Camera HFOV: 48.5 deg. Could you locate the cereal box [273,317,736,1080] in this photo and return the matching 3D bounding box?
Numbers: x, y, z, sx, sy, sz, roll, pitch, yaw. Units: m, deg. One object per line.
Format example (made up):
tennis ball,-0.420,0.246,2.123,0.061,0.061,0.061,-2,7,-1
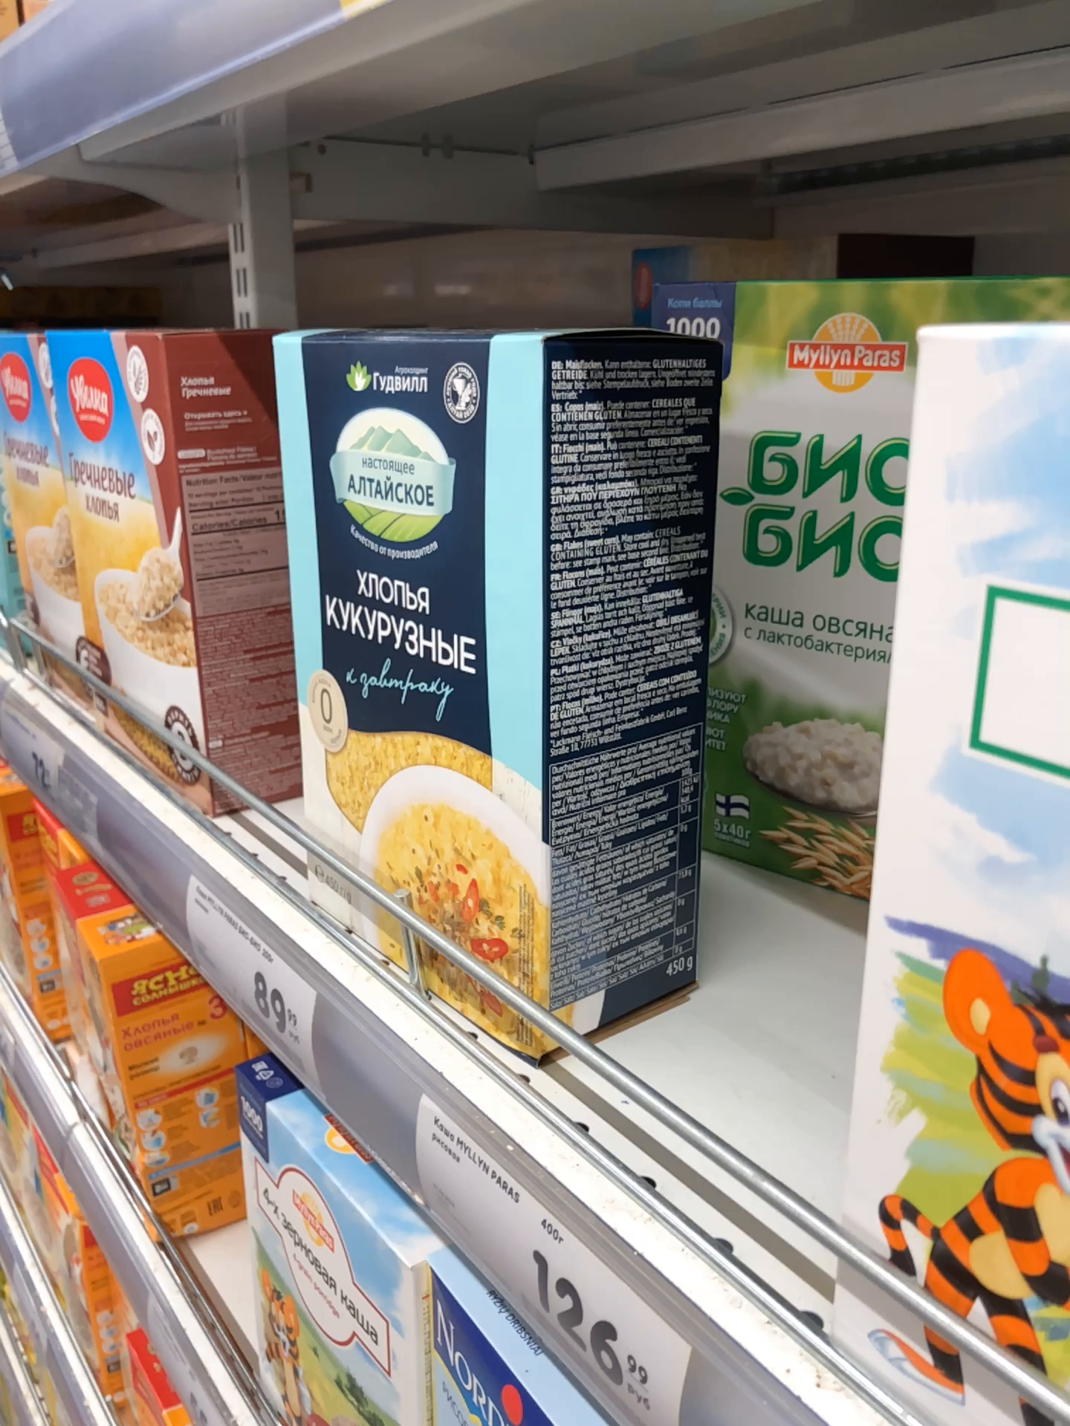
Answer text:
cereal box,-0.013,-0.016,0.350,0.060,0.189,0.130,-13,21,-35
